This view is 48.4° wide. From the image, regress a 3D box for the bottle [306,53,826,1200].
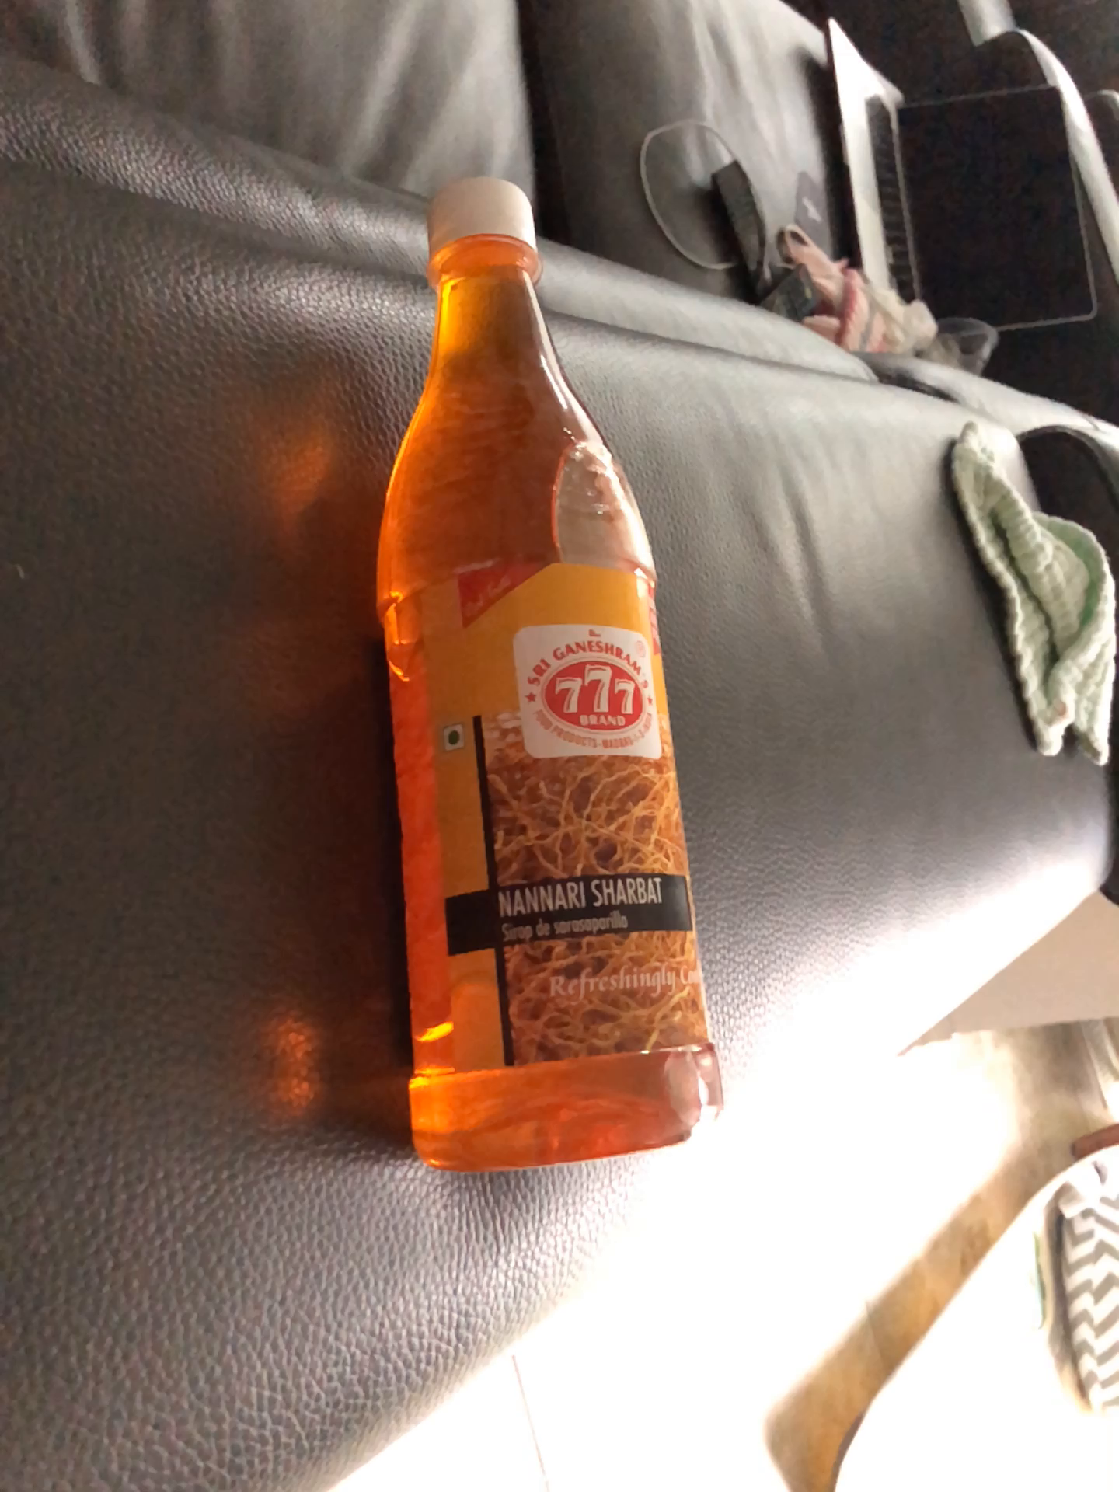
[{"bbox_3d":[-0.007,-0.032,0.334,0.080,0.070,0.280,3,72,-34],"label":"bottle"}]
